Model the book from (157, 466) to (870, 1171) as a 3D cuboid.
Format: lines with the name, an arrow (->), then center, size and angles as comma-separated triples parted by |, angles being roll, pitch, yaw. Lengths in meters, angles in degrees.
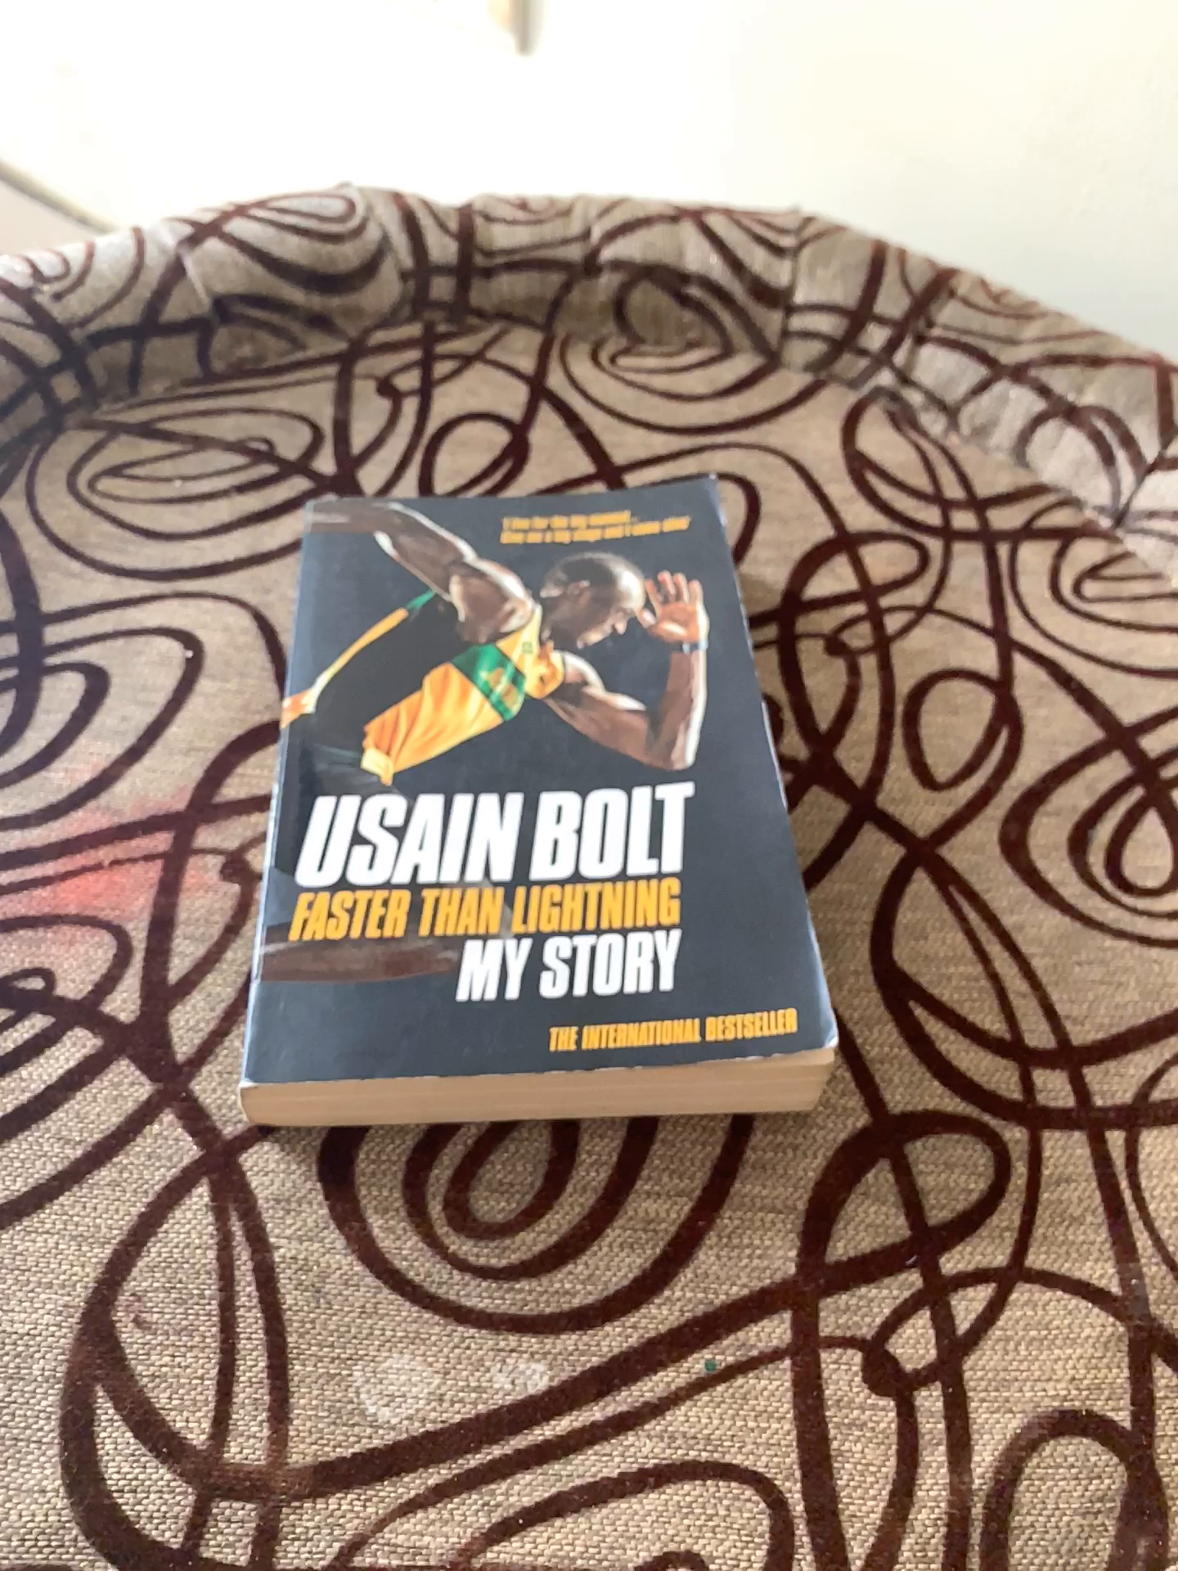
book -> -0.021, -0.008, 0.318 | 0.140, 0.030, 0.201 | -2, 50, -4
